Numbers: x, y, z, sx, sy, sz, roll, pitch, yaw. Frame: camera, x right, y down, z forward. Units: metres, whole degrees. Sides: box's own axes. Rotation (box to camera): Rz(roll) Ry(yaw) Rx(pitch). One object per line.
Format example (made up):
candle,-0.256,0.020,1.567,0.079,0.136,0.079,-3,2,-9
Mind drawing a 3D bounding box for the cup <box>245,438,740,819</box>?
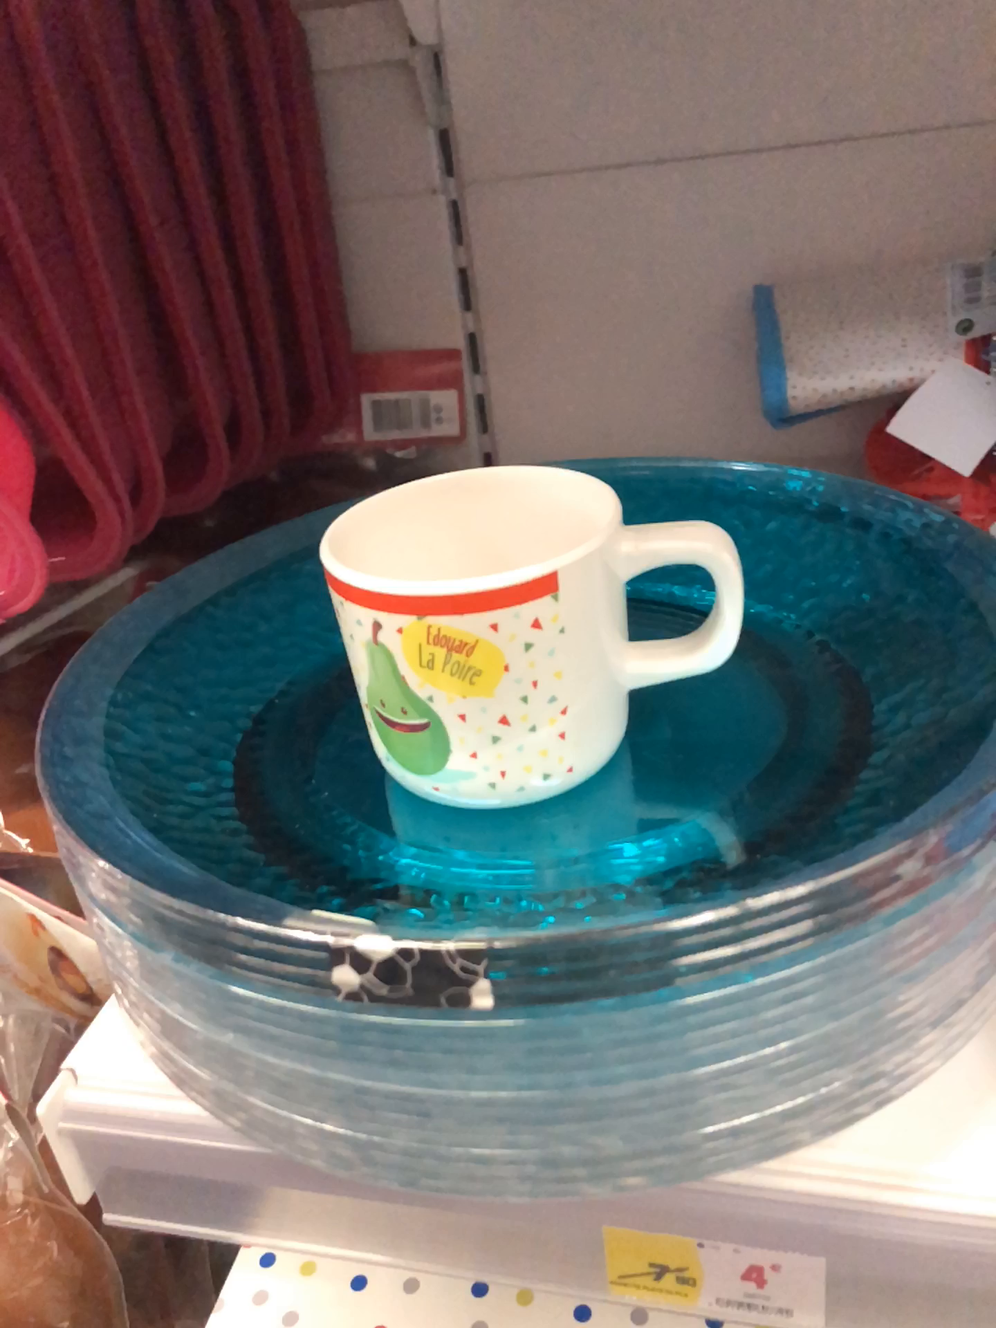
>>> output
cup,0.005,-0.011,0.274,0.102,0.059,0.077,-3,30,10
